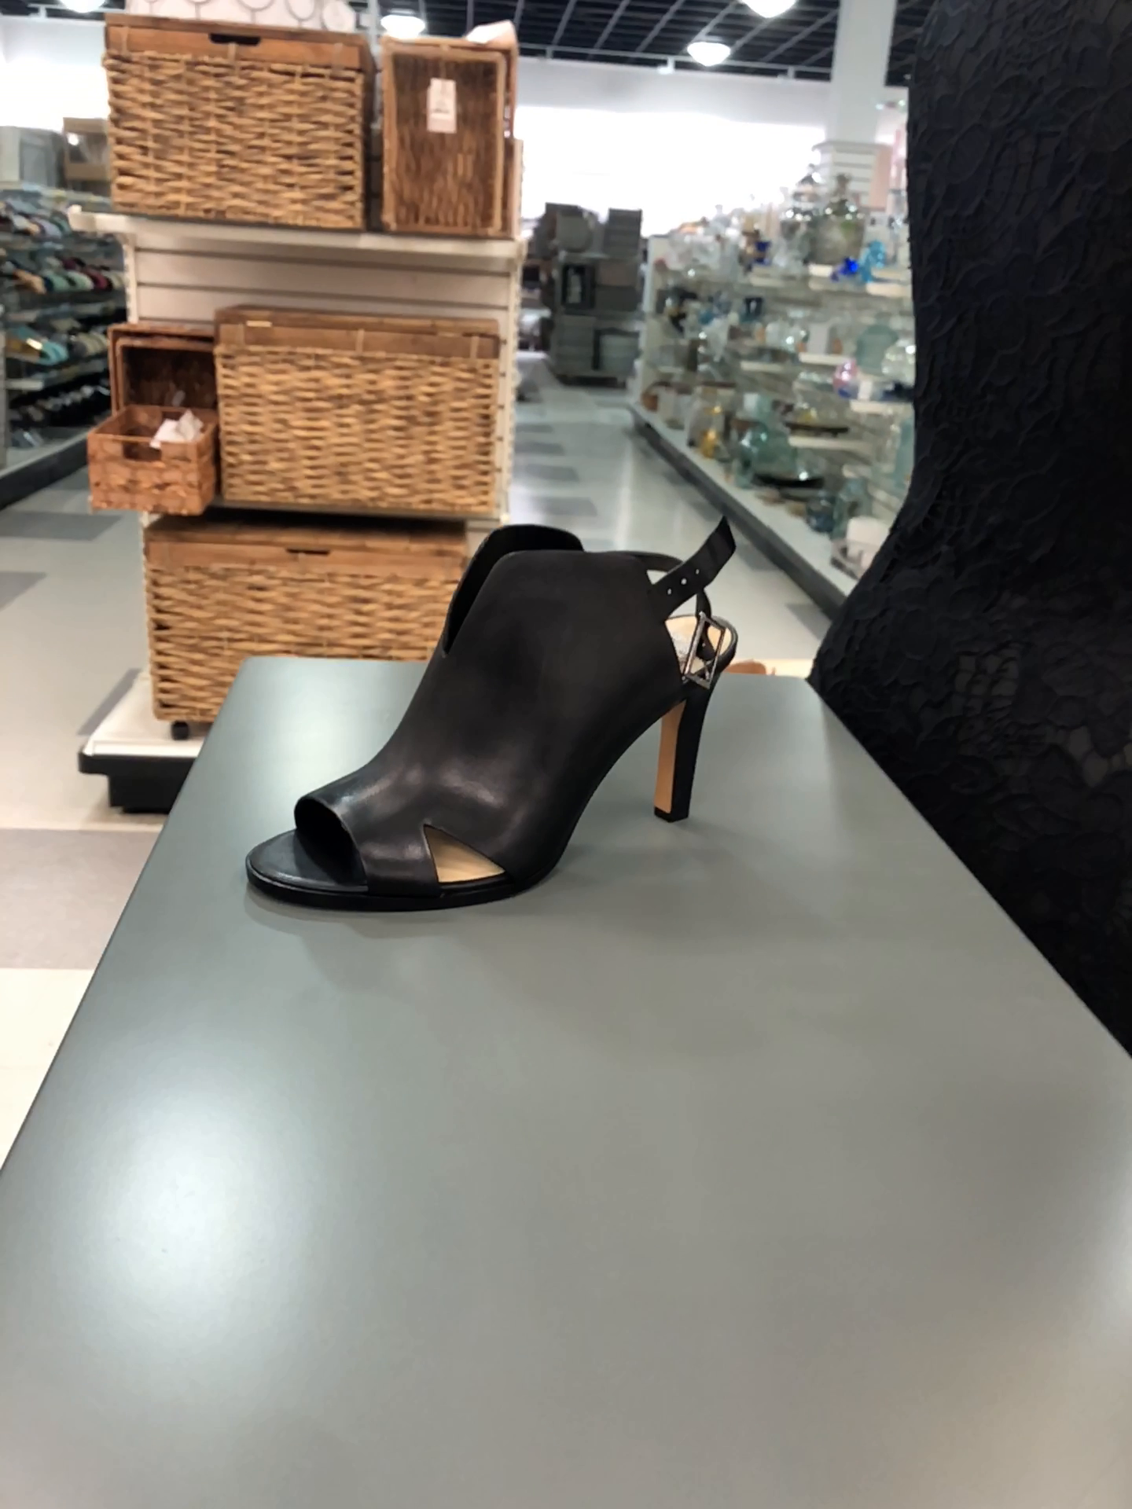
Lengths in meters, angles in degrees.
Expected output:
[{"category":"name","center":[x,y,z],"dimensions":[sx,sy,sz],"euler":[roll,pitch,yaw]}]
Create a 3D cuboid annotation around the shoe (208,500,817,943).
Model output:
[{"category":"shoe","center":[-0.024,-0.026,0.546],"dimensions":[0.236,0.150,0.095],"euler":[-6,22,-25]}]
